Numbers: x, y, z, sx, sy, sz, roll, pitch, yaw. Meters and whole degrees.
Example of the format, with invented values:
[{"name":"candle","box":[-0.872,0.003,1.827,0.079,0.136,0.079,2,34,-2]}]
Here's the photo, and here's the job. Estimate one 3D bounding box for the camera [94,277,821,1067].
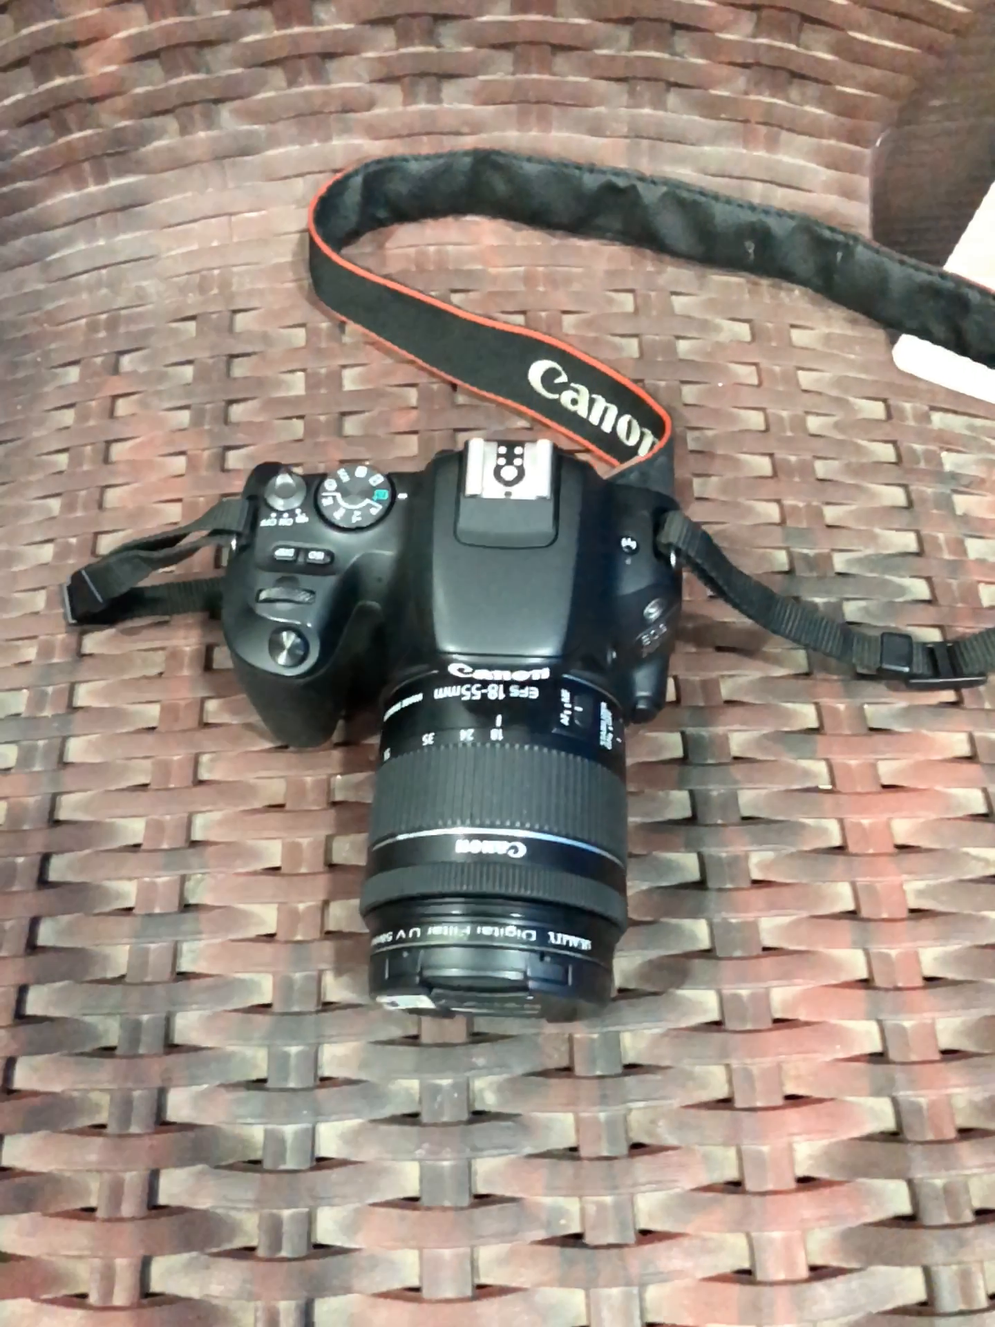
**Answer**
[{"name":"camera","box":[-0.004,0.007,0.288,0.140,0.110,0.170,2,74,2]}]
